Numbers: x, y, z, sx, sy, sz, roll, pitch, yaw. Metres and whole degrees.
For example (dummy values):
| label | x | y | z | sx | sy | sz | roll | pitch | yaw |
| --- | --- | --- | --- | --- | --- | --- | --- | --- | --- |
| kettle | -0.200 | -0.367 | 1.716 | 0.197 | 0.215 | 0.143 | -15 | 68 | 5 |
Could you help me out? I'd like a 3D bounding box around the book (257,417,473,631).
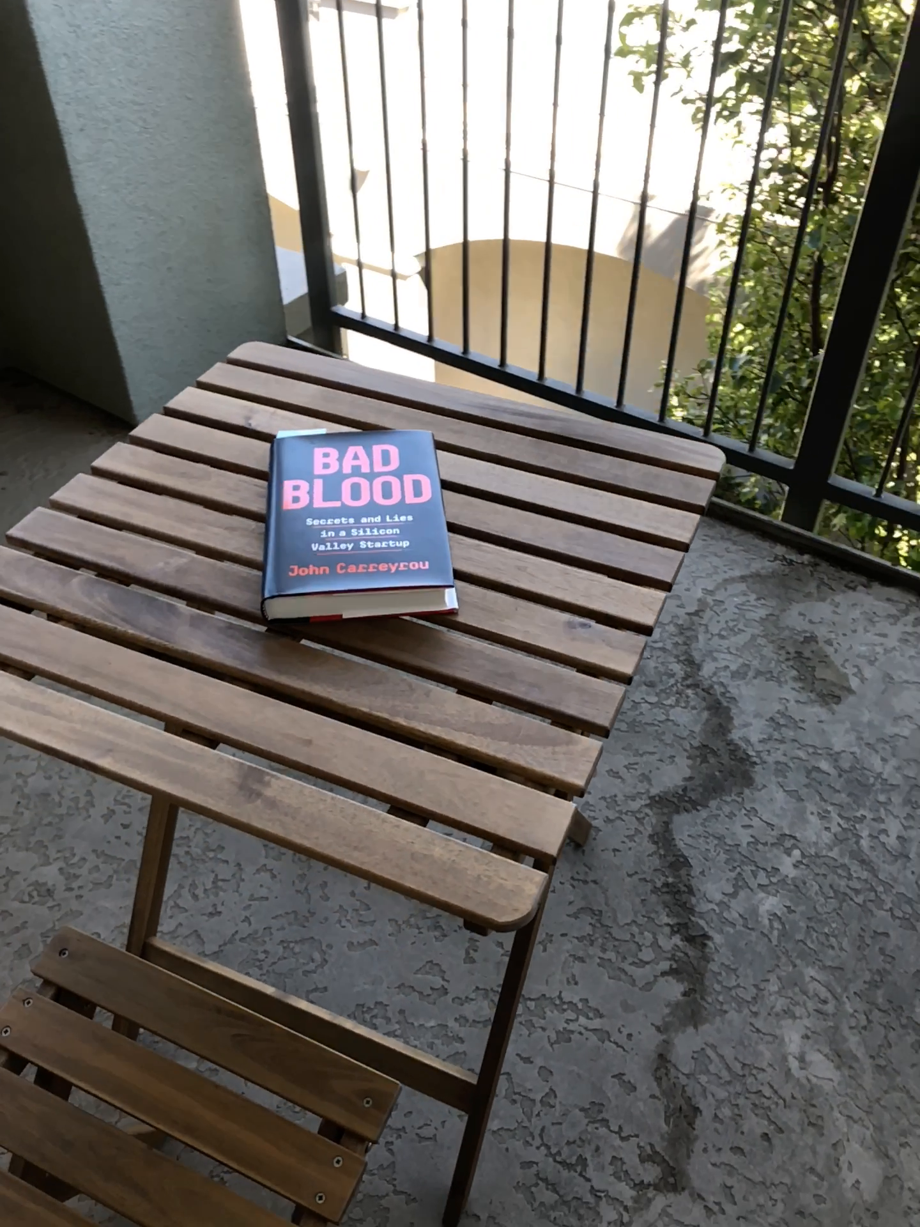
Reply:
| label | x | y | z | sx | sy | sz | roll | pitch | yaw |
| --- | --- | --- | --- | --- | --- | --- | --- | --- | --- |
| book | -0.092 | -0.092 | 0.953 | 0.180 | 0.050 | 0.241 | -5 | 43 | -5 |
